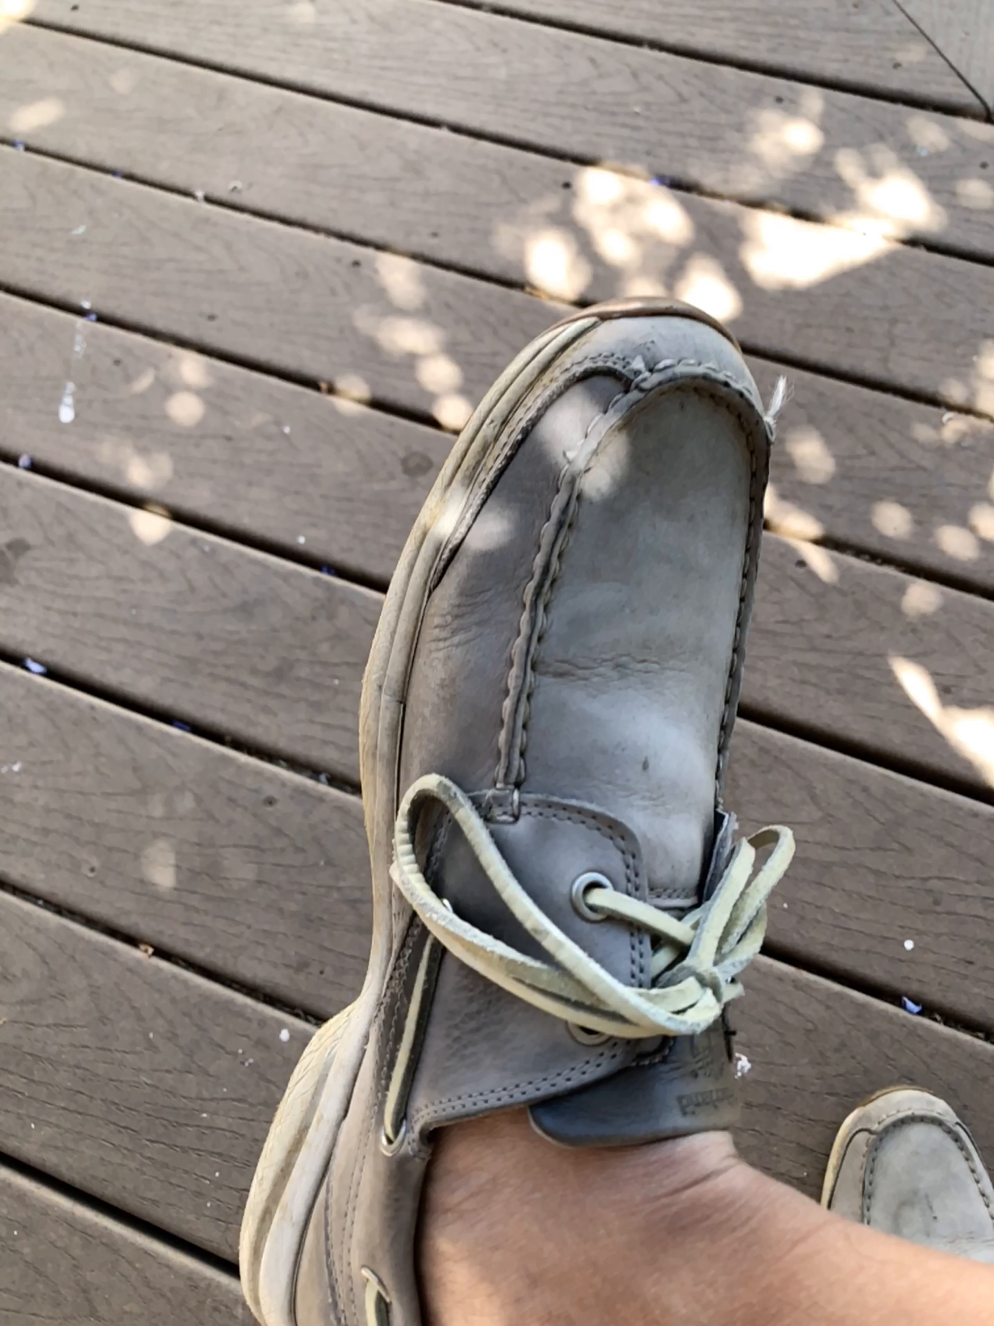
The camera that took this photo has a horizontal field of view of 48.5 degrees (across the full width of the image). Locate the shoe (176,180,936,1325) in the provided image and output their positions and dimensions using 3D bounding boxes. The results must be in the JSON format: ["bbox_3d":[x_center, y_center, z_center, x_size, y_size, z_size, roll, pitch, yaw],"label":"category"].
[{"bbox_3d":[0.018,0.064,0.292,0.083,0.116,0.326,13,93,45],"label":"shoe"}]
